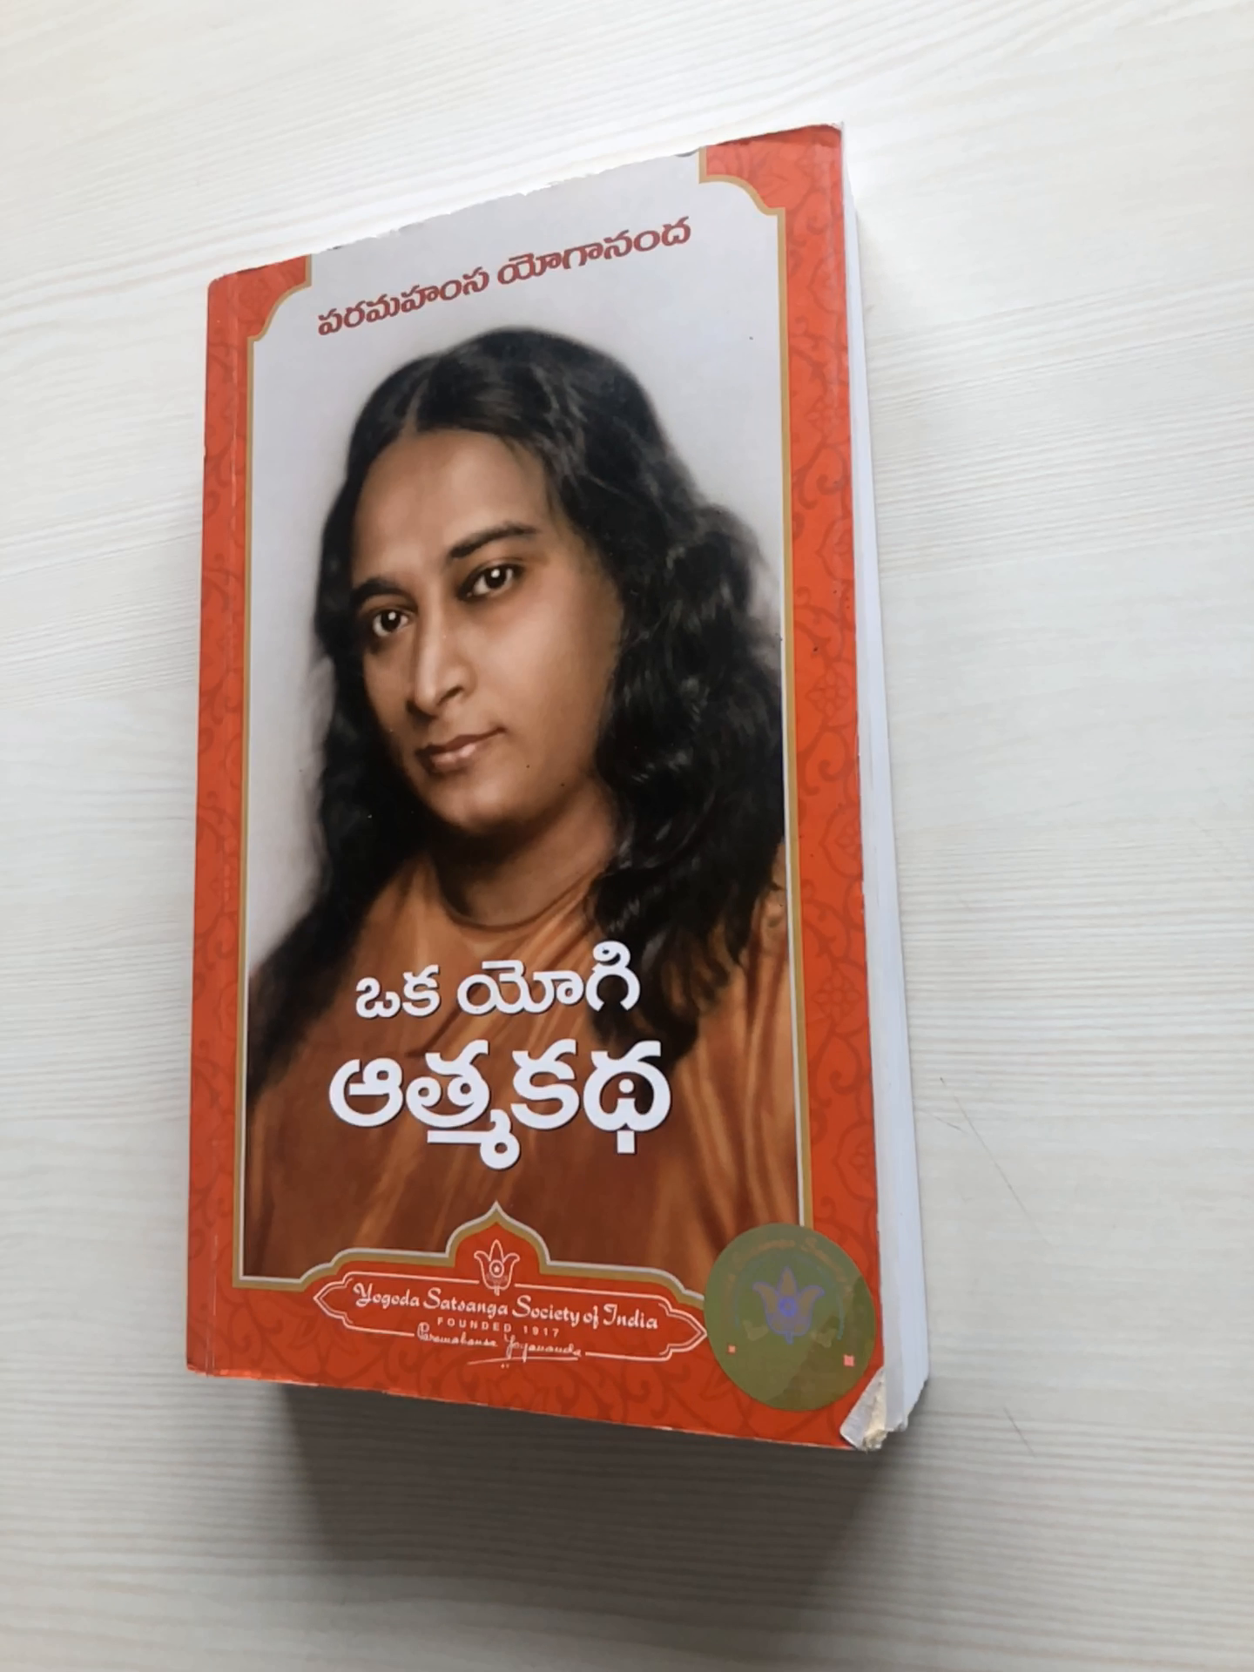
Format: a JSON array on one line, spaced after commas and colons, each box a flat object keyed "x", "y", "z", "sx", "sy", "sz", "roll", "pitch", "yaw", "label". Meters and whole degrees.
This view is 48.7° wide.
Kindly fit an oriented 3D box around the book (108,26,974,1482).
[{"x": -0.019, "y": -0.015, "z": 0.263, "sx": 0.150, "sy": 0.040, "sz": 0.233, "roll": -4, "pitch": 81, "yaw": 21, "label": "book"}]
